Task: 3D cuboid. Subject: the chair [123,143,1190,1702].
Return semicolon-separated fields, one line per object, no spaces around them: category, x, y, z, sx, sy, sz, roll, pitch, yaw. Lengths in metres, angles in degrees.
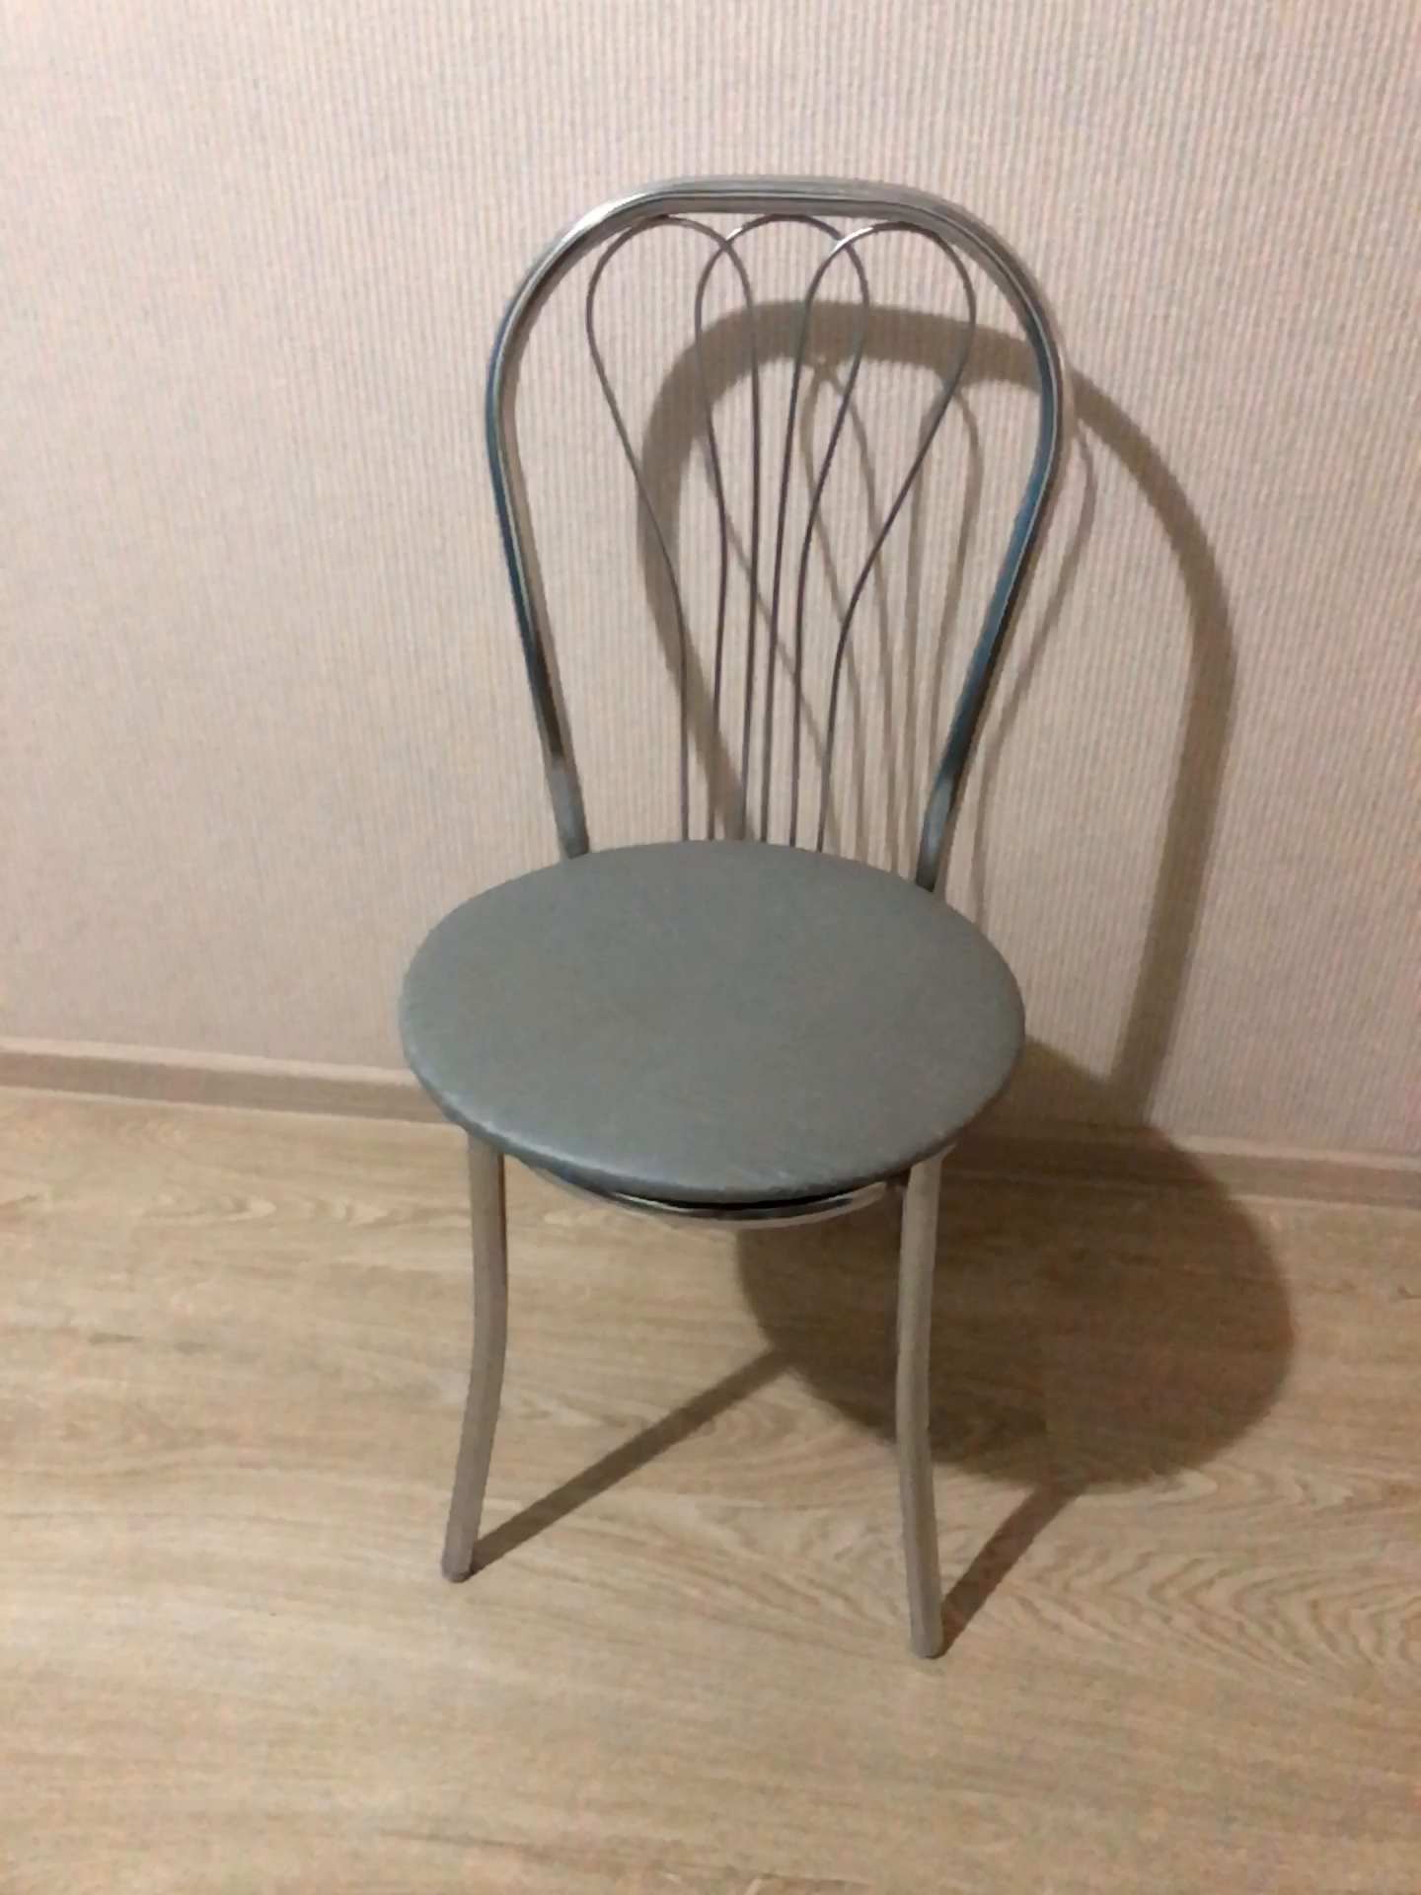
chair;0.011;-0.014;0.989;0.400;0.824;0.473;7;34;9
